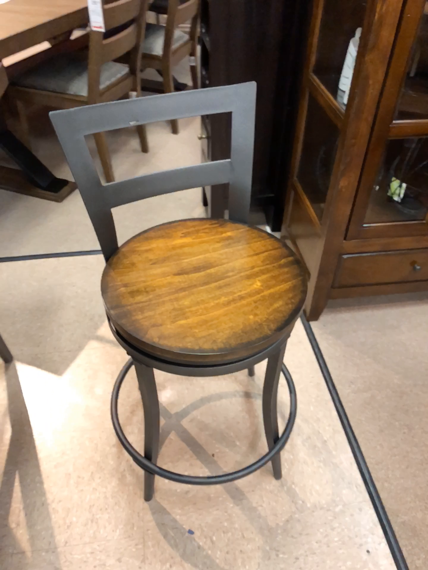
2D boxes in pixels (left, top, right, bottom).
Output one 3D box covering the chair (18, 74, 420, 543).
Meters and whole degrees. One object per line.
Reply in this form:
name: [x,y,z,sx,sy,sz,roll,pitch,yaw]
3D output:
chair: [-0.034,0.068,1.011,0.490,0.804,0.463,-15,44,-18]
